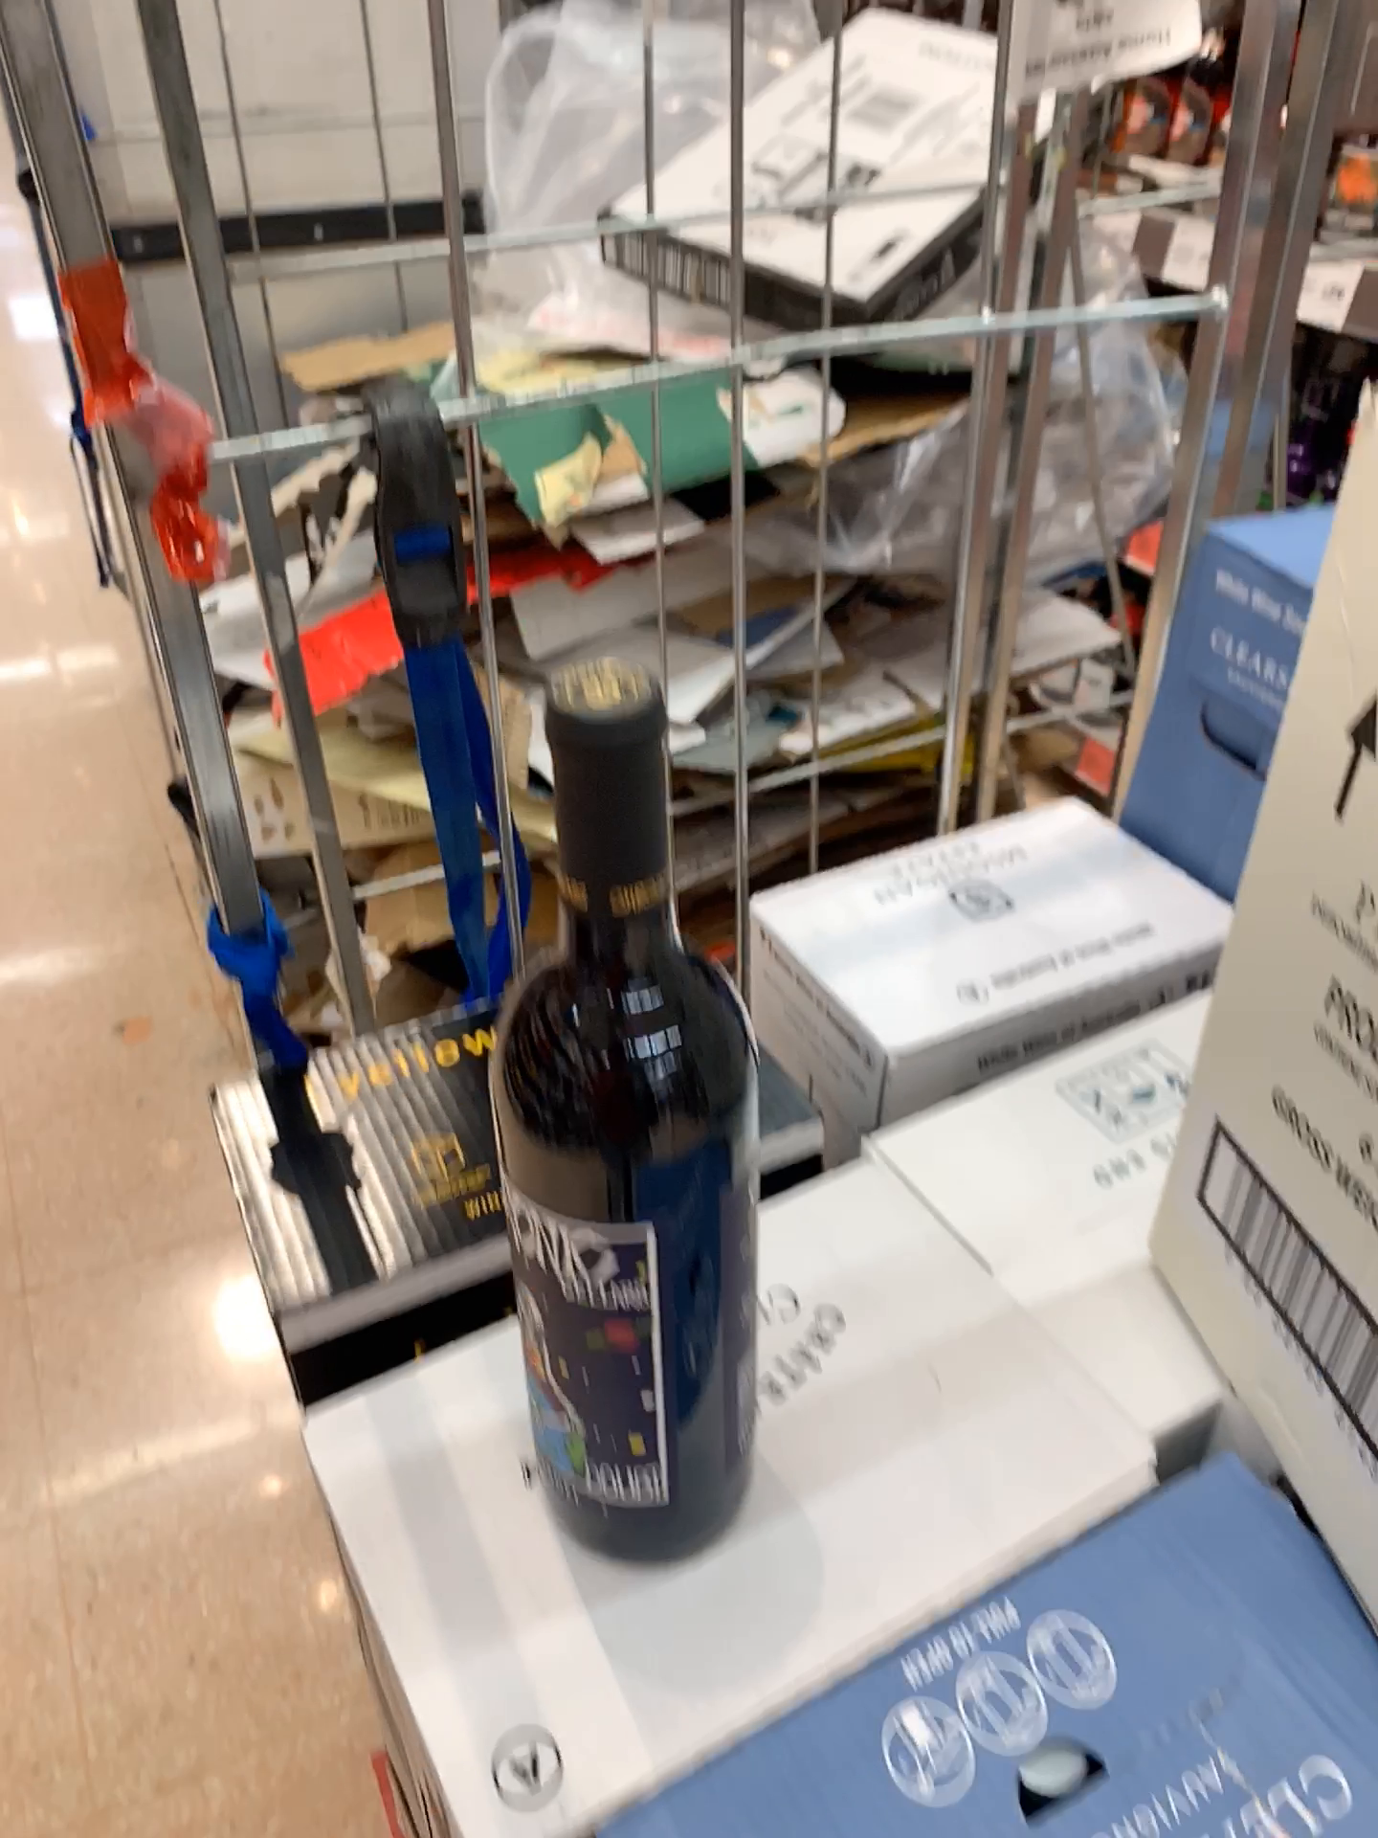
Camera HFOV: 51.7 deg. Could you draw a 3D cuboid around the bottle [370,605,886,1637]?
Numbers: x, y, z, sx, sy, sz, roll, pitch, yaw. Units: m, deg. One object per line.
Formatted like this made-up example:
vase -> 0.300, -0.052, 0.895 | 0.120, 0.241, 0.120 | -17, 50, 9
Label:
bottle -> -0.016, 0.069, 0.403 | 0.085, 0.284, 0.086 | 0, 35, 0
